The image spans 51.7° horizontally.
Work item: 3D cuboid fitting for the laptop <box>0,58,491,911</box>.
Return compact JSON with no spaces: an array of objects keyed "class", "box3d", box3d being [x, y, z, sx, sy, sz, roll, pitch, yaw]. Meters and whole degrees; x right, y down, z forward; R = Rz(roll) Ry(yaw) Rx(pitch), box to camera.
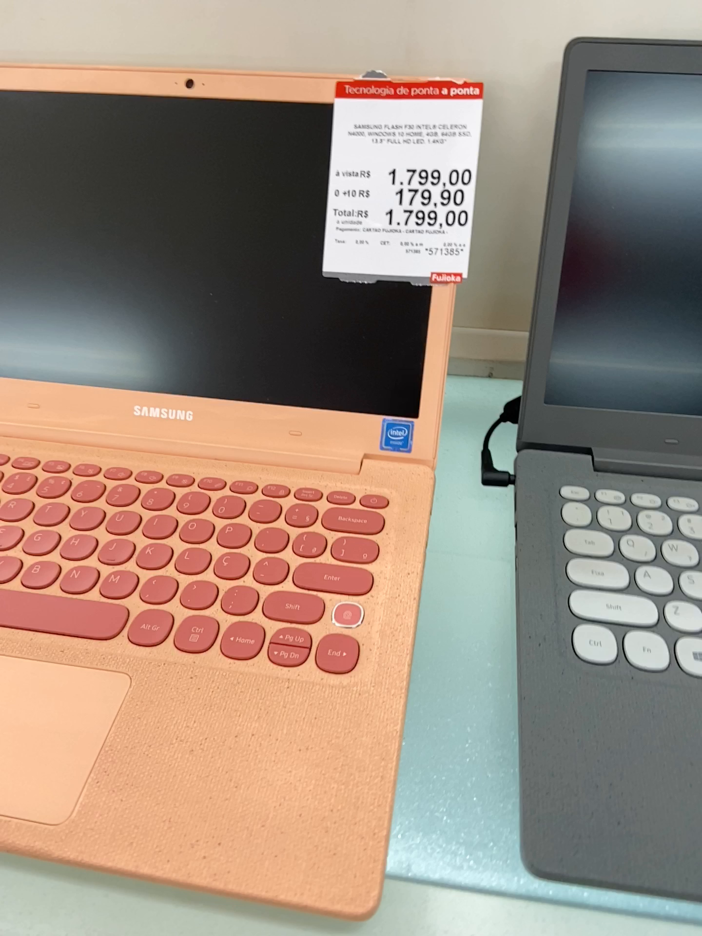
[{"class":"laptop","box3d":[-0.120,-0.052,0.338,0.329,0.160,0.361,6,43,9]}]
